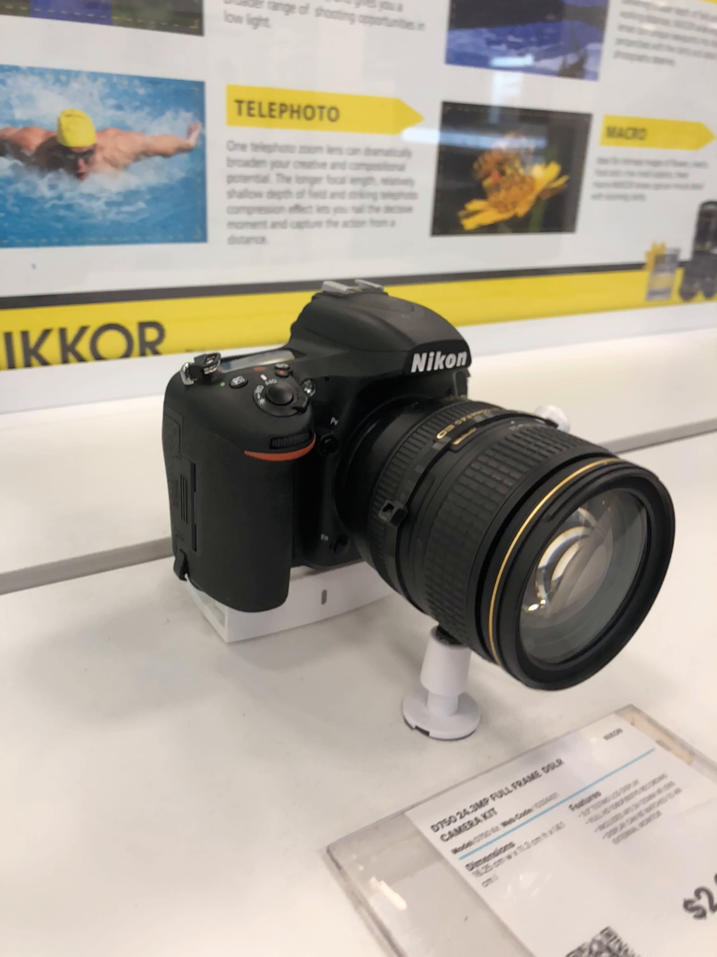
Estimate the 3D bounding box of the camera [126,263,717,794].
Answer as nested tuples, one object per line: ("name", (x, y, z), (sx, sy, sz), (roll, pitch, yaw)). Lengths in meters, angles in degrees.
("camera", (0.021, -0.009, 0.301), (0.150, 0.110, 0.170), (-13, 27, -33))
